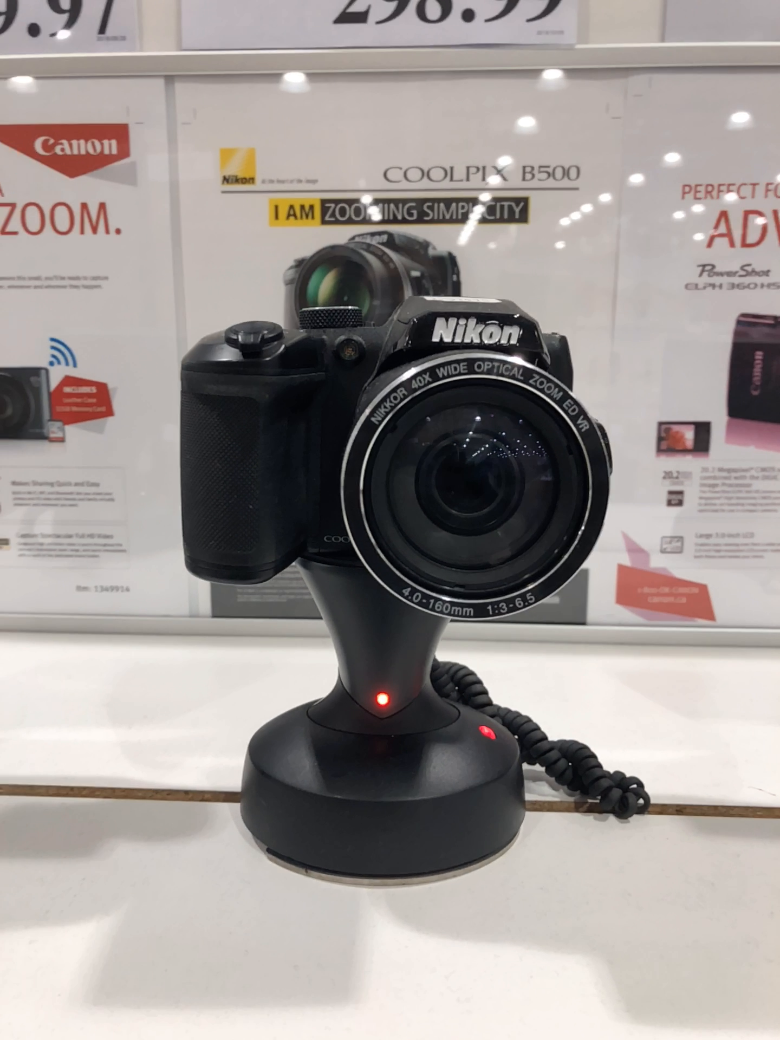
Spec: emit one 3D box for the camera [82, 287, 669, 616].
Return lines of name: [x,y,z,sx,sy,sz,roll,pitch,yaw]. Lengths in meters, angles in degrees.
camera: [-0.002,-0.024,0.234,0.120,0.070,0.100,0,12,1]
